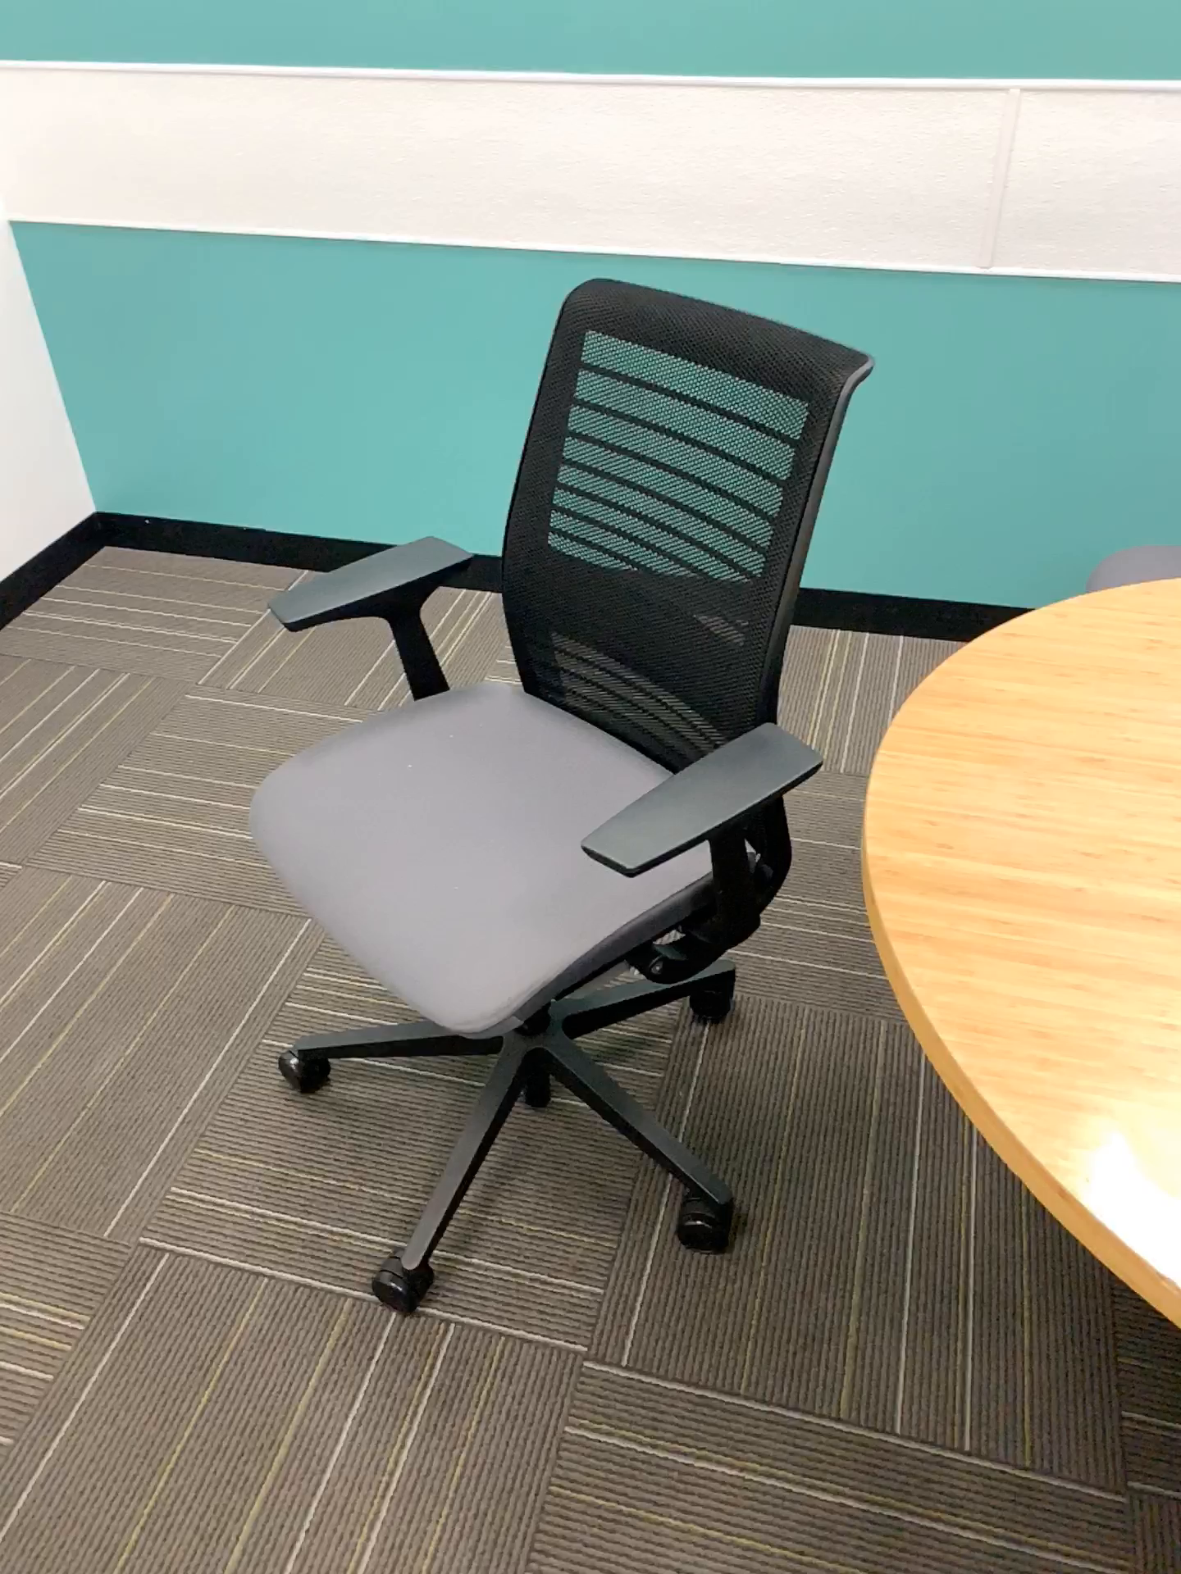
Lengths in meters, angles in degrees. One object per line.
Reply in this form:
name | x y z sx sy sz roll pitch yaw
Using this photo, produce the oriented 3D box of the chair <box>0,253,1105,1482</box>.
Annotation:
chair | -0.040 0.026 1.456 0.733 0.984 0.842 30 48 35
